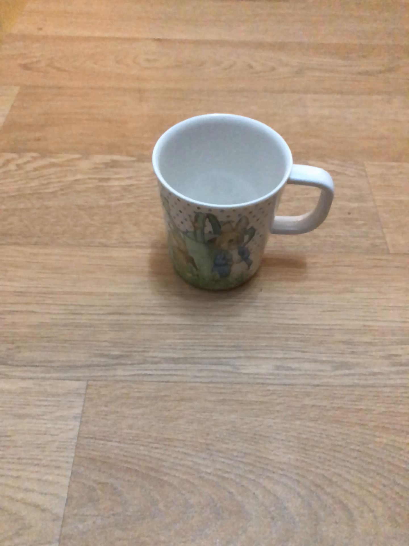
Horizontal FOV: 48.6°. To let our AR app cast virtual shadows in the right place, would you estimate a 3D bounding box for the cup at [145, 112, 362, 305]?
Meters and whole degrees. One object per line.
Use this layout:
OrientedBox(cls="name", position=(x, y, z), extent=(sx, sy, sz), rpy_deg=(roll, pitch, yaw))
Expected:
OrientedBox(cls="cup", position=(0.027, -0.039, 0.286), extent=(0.110, 0.080, 0.080), rpy_deg=(4, 53, 2))
